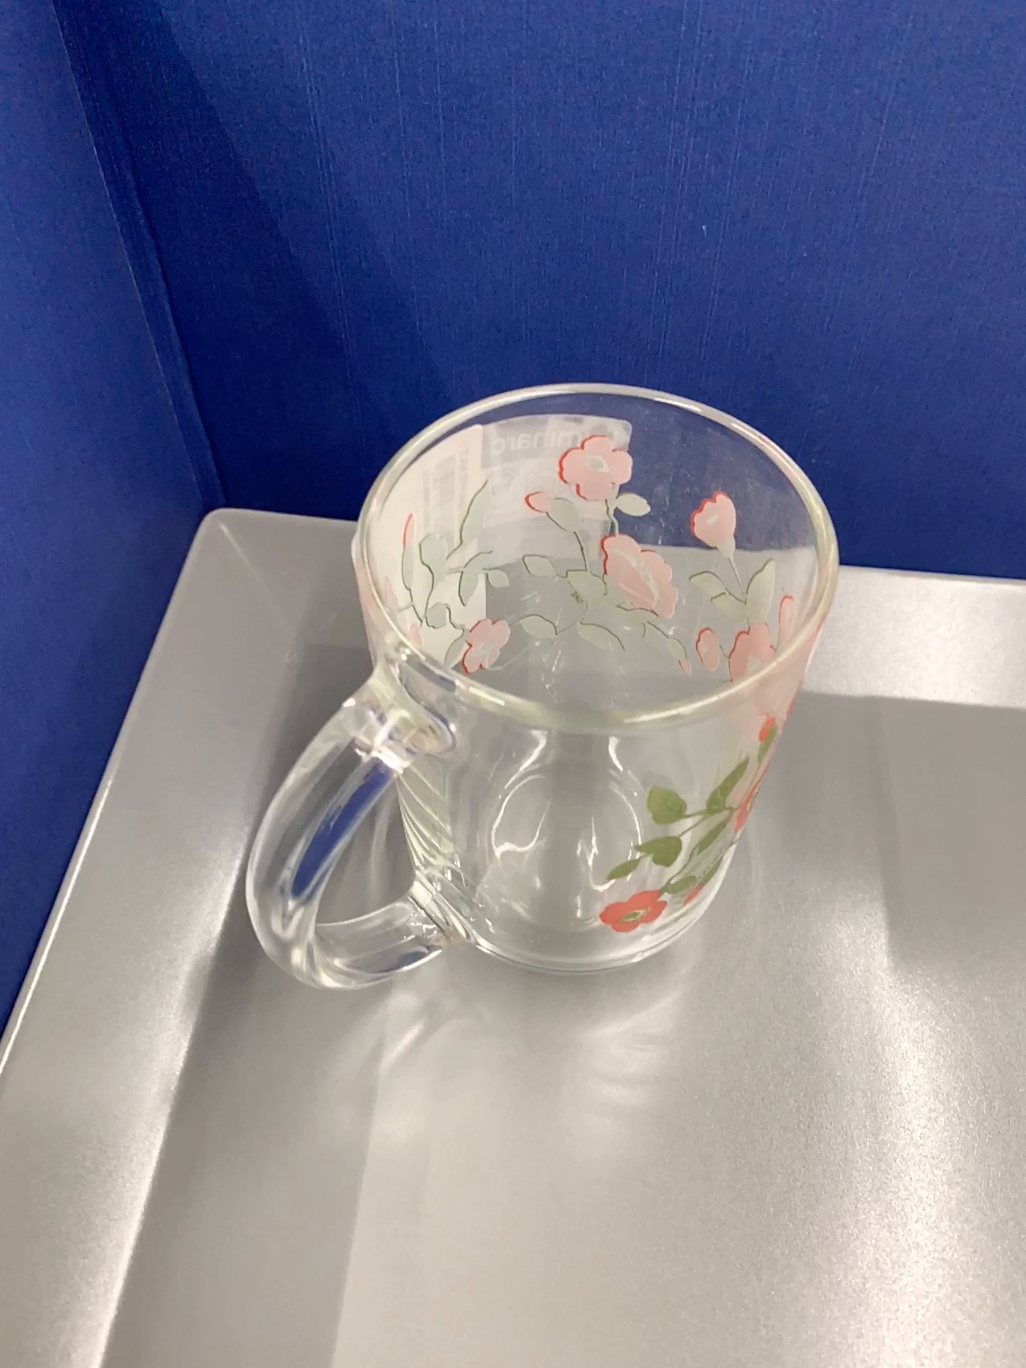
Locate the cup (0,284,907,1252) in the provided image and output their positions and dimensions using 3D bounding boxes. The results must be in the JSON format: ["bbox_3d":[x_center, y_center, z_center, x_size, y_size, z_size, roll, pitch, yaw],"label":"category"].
[{"bbox_3d":[-0.010,0.013,0.197,0.088,0.104,0.115,35,59,25],"label":"cup"}]
